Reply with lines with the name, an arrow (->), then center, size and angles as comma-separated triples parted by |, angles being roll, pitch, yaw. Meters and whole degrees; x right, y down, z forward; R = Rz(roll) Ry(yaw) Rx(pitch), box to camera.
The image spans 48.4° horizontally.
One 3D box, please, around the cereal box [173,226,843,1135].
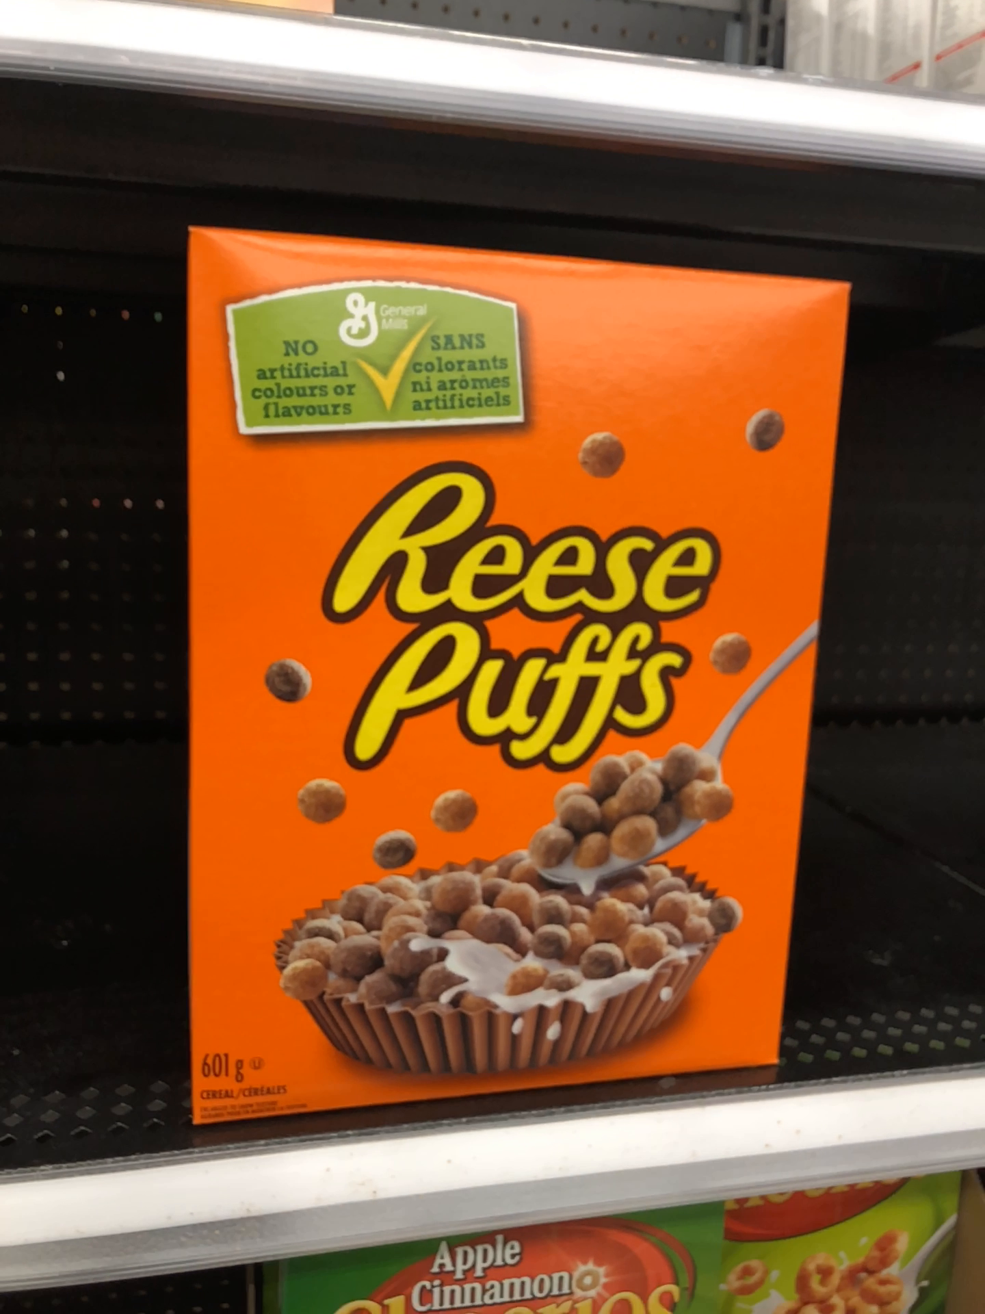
cereal box -> 0.000, 0.011, 0.441 | 0.240, 0.319, 0.070 | -1, 10, -14
